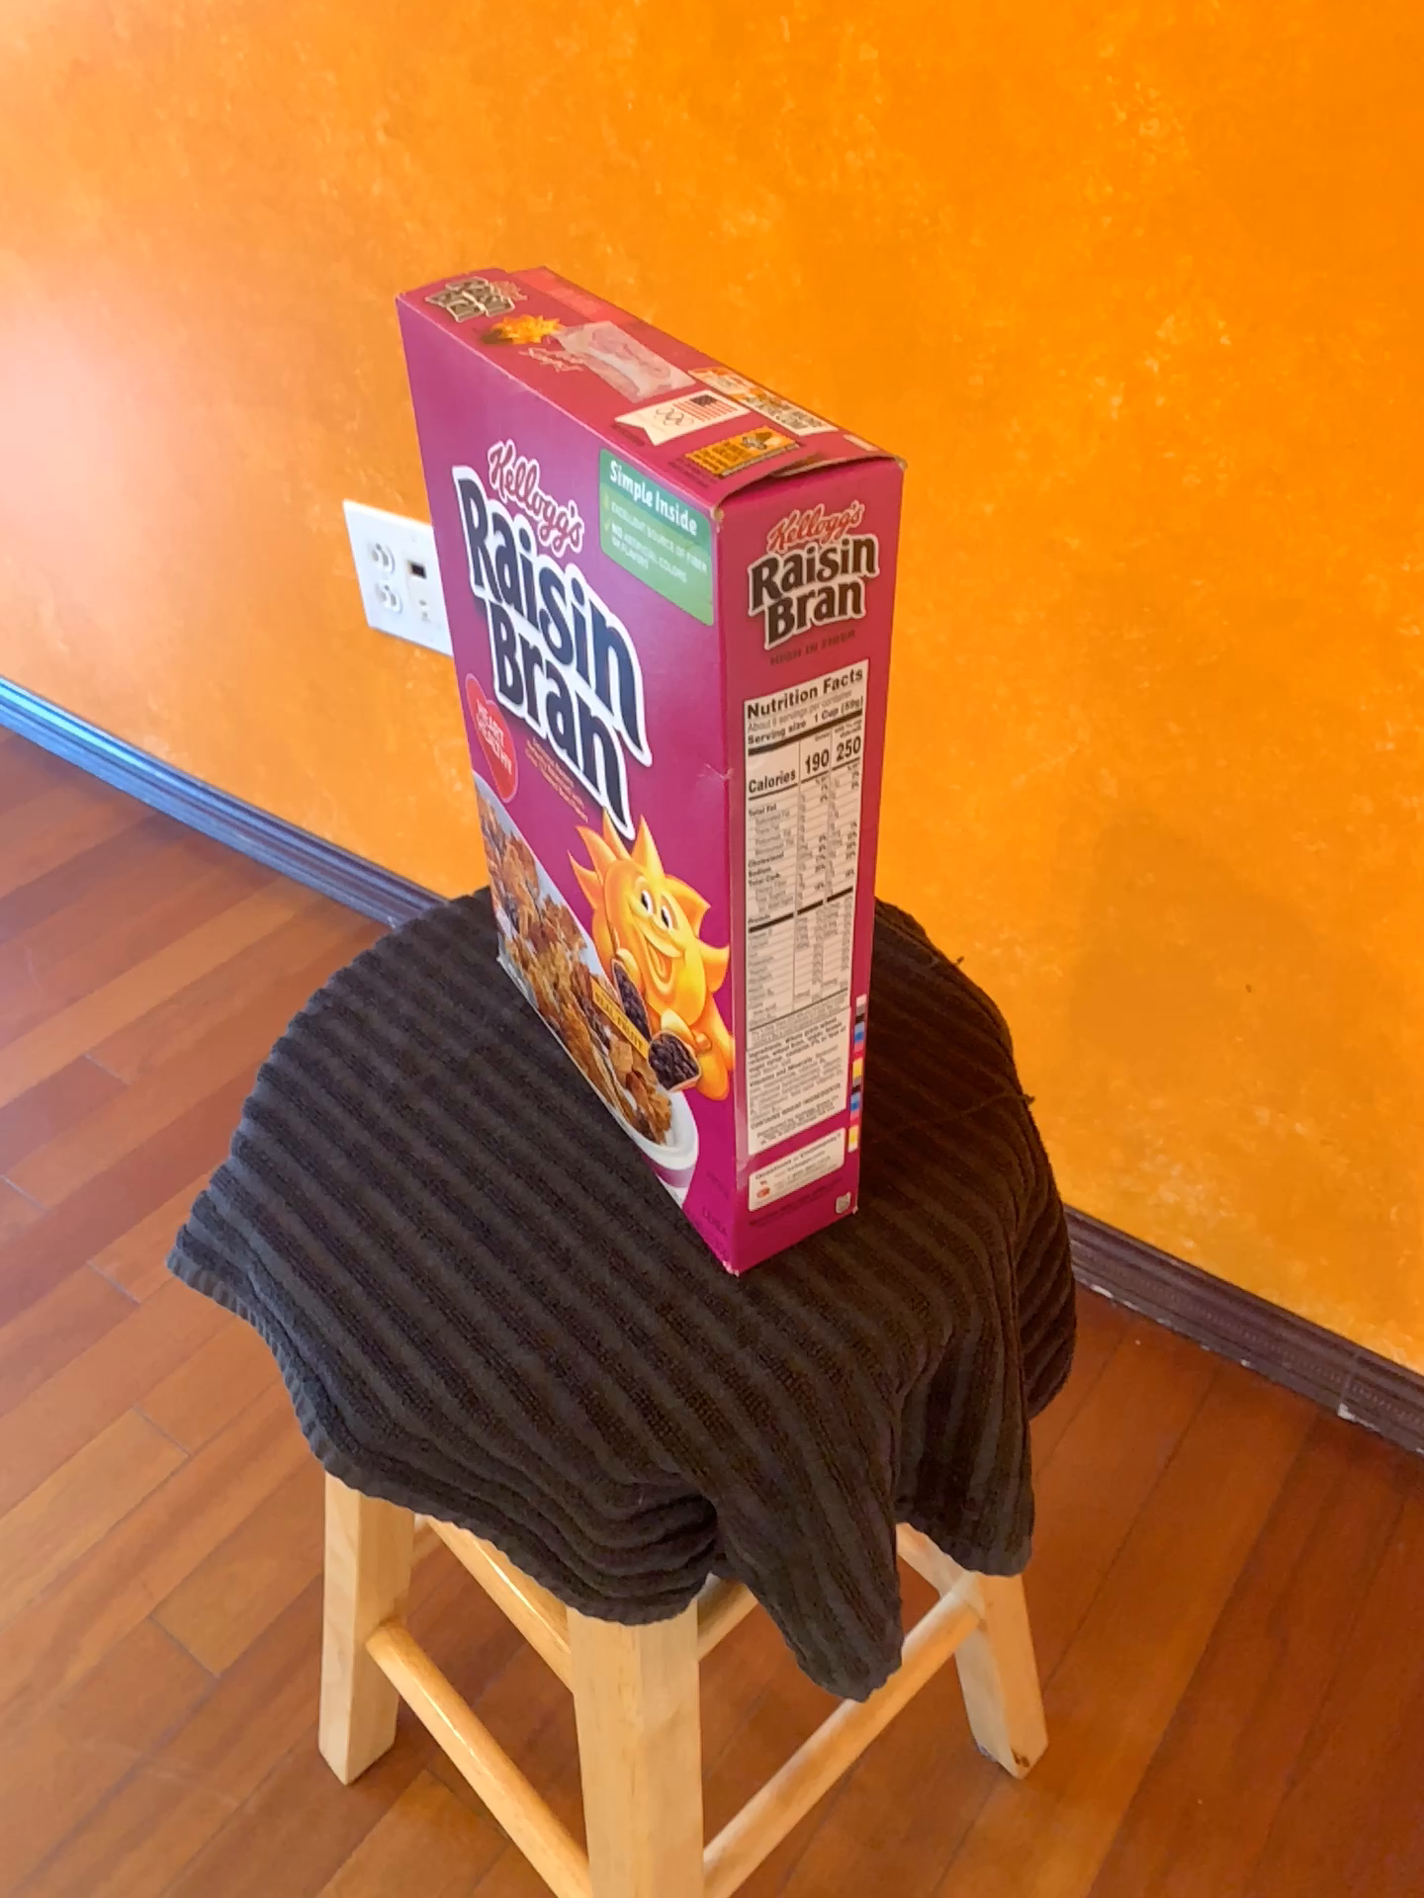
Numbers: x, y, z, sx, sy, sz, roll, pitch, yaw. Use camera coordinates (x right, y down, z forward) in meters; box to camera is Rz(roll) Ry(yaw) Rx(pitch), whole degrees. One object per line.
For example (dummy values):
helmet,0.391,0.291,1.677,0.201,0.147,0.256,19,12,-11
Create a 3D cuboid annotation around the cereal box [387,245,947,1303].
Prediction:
cereal box,-0.018,-0.053,0.489,0.060,0.288,0.201,-22,44,-22
